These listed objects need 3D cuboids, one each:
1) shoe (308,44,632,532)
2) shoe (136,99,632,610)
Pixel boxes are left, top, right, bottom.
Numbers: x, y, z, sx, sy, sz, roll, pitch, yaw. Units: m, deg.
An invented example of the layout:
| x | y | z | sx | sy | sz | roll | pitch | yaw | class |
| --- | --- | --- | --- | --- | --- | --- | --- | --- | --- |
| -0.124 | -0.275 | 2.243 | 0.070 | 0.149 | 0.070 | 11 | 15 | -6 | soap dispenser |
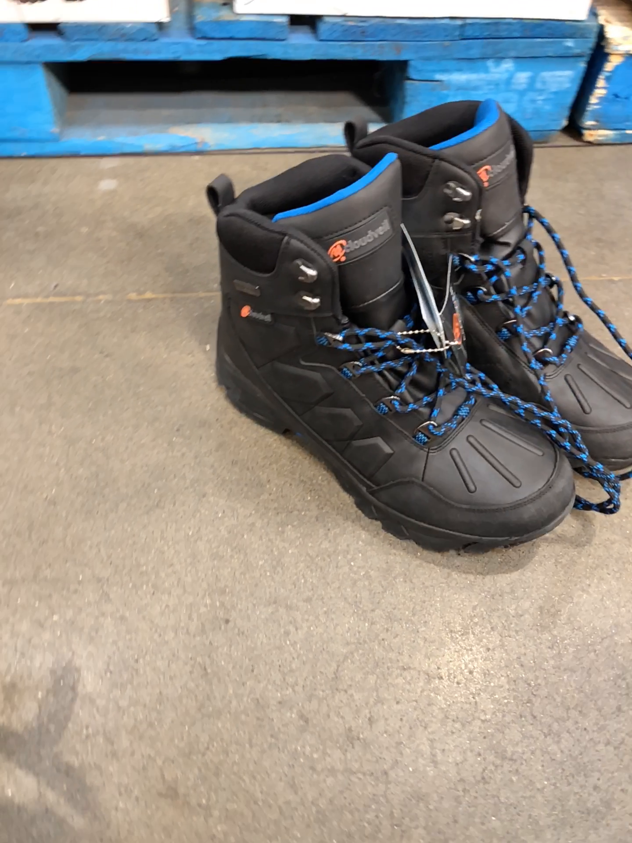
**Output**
| x | y | z | sx | sy | sz | roll | pitch | yaw | class |
| --- | --- | --- | --- | --- | --- | --- | --- | --- | --- |
| 0.149 | -0.097 | 0.519 | 0.300 | 0.209 | 0.120 | 37 | 62 | 20 | shoe |
| 0.048 | -0.042 | 0.478 | 0.300 | 0.209 | 0.120 | 31 | 60 | 18 | shoe |
